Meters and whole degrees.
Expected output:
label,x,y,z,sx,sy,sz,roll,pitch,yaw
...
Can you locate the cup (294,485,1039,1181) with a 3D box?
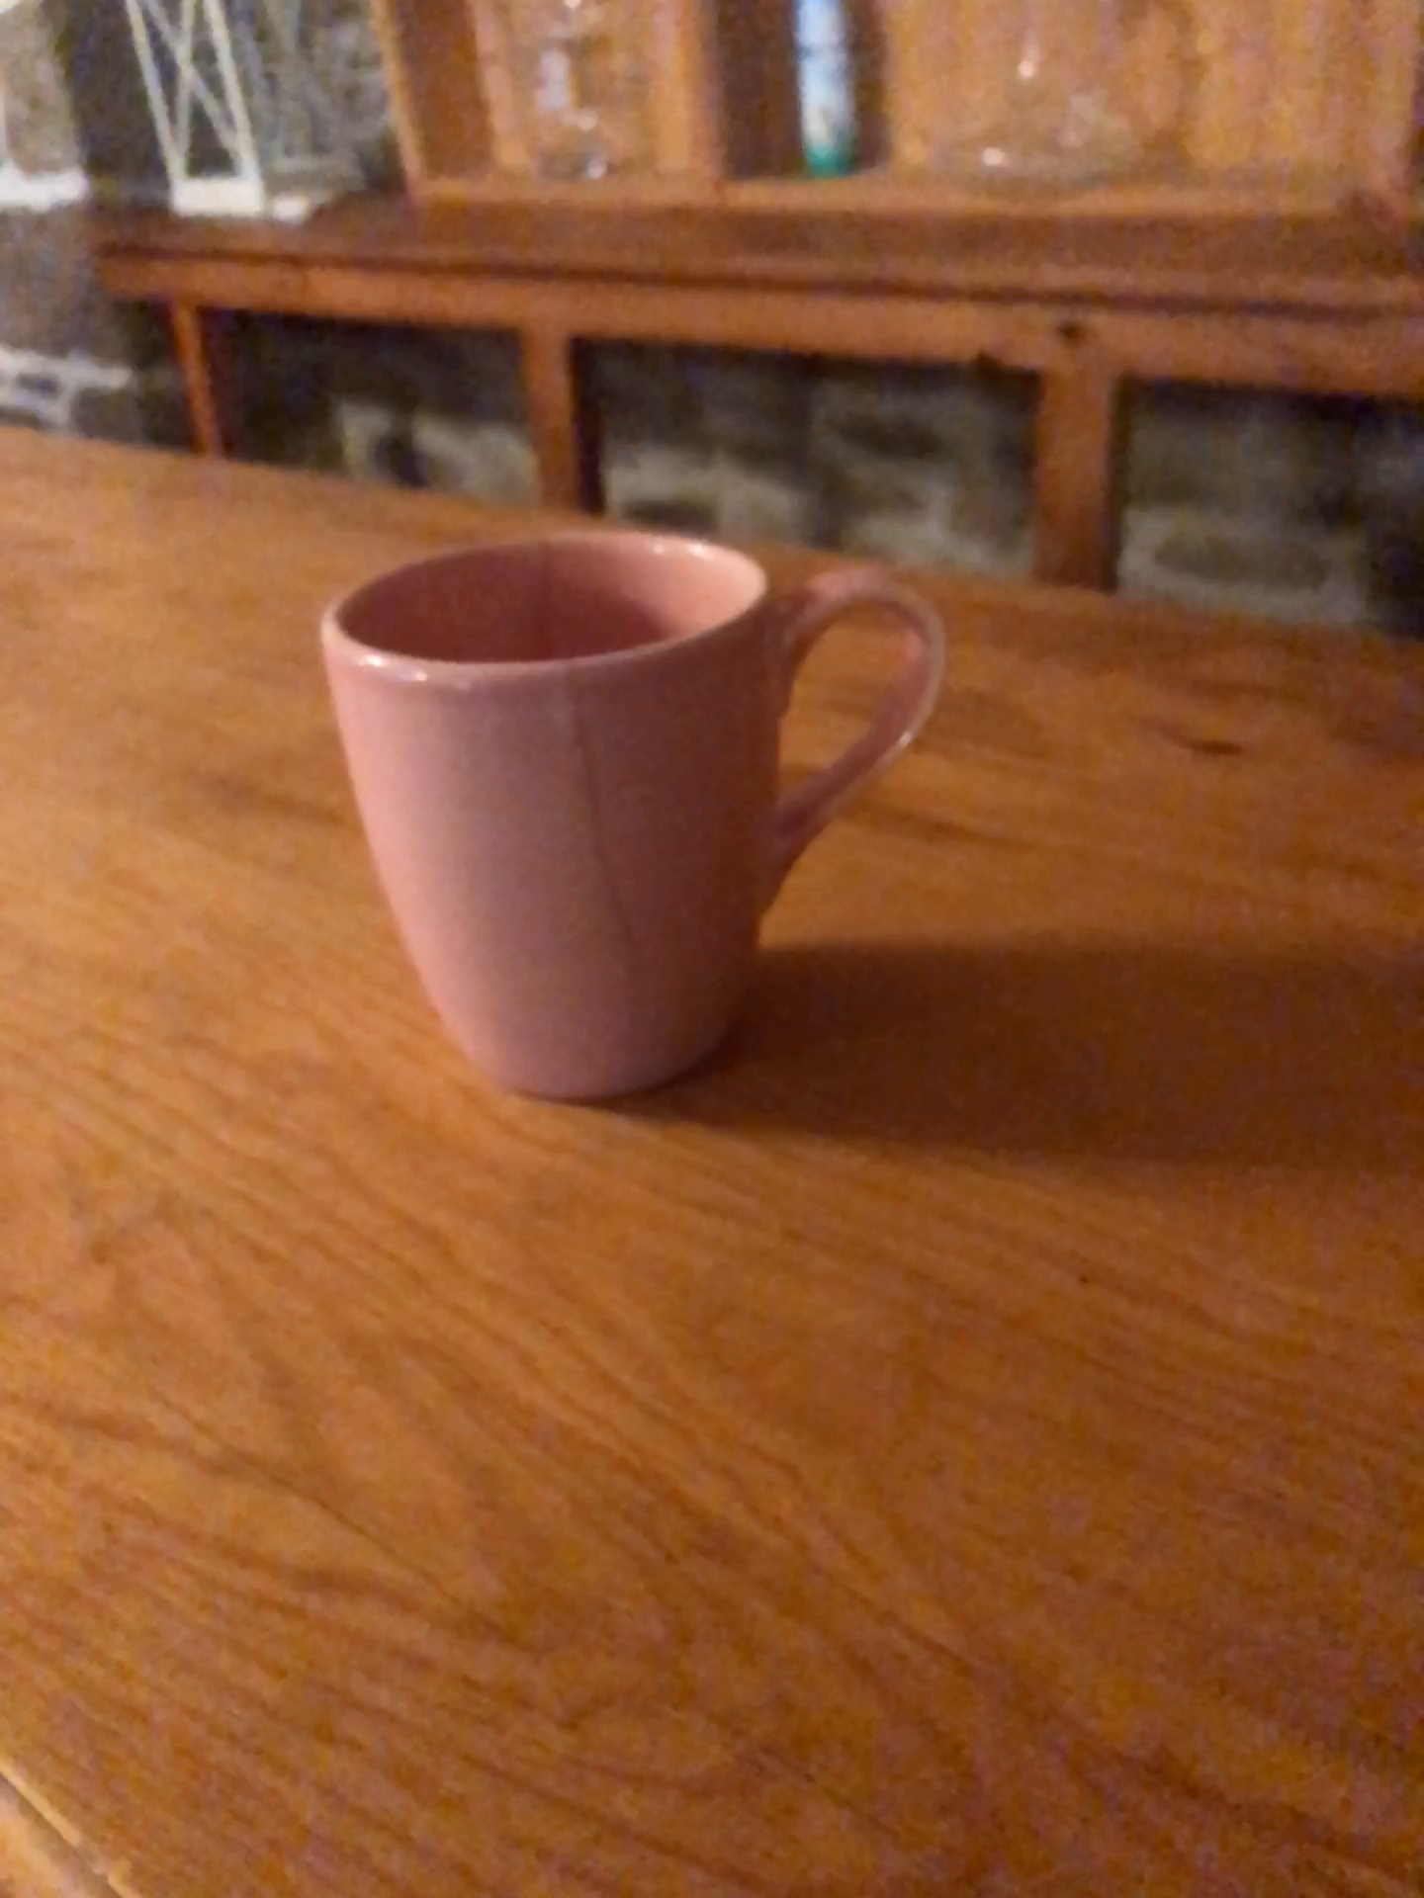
label,x,y,z,sx,sy,sz,roll,pitch,yaw
cup,-0.009,-0.033,0.339,0.121,0.095,0.090,-17,32,-23
